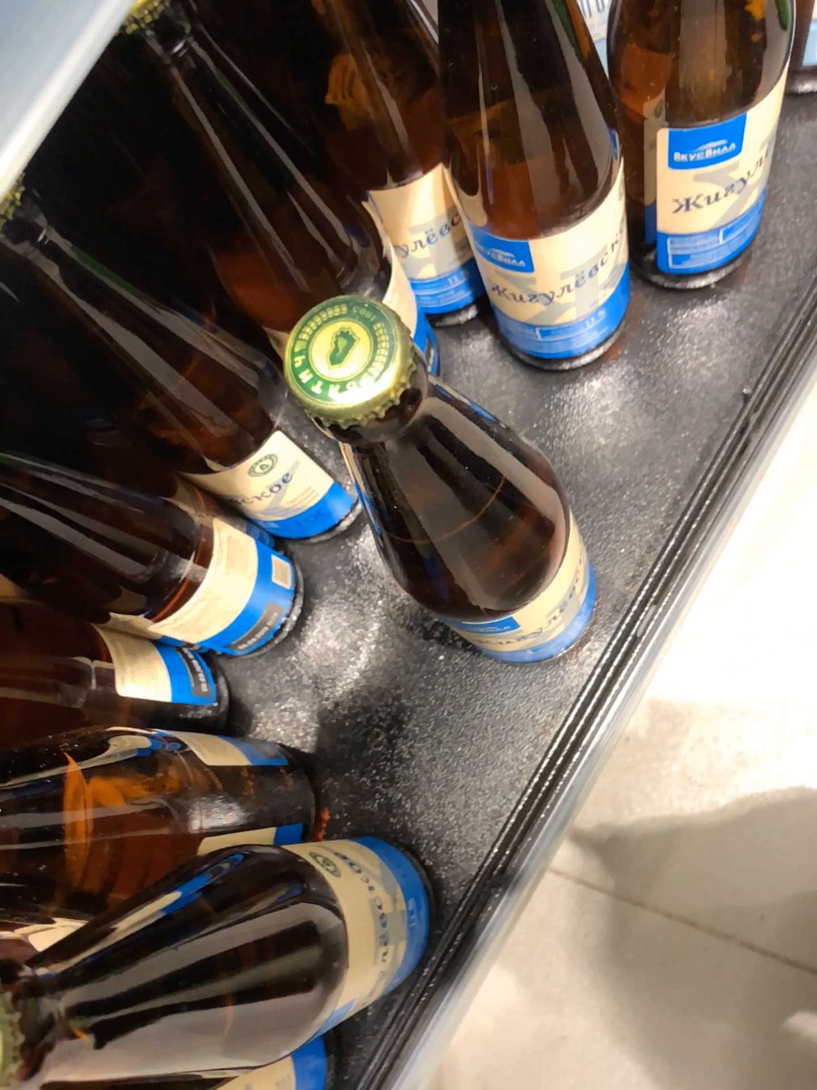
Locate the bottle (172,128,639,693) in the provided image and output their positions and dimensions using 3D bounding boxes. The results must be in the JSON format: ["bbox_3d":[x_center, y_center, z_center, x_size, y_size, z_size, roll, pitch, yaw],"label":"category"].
[{"bbox_3d":[0.026,-0.012,0.302,0.070,0.250,0.070,-4,75,13],"label":"bottle"}]
